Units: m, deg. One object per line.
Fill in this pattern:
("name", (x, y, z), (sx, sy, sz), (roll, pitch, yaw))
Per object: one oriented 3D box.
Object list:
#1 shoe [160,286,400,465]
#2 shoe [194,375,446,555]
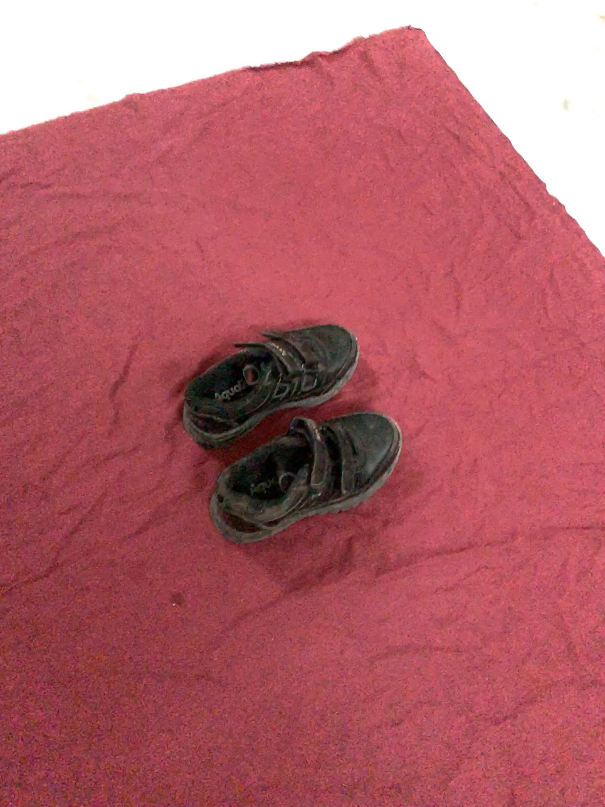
("shoe", (-0.020, -0.028, 0.595), (0.210, 0.070, 0.070), (-25, 70, -16))
("shoe", (0.015, 0.055, 0.568), (0.210, 0.070, 0.070), (-22, 69, -15))
